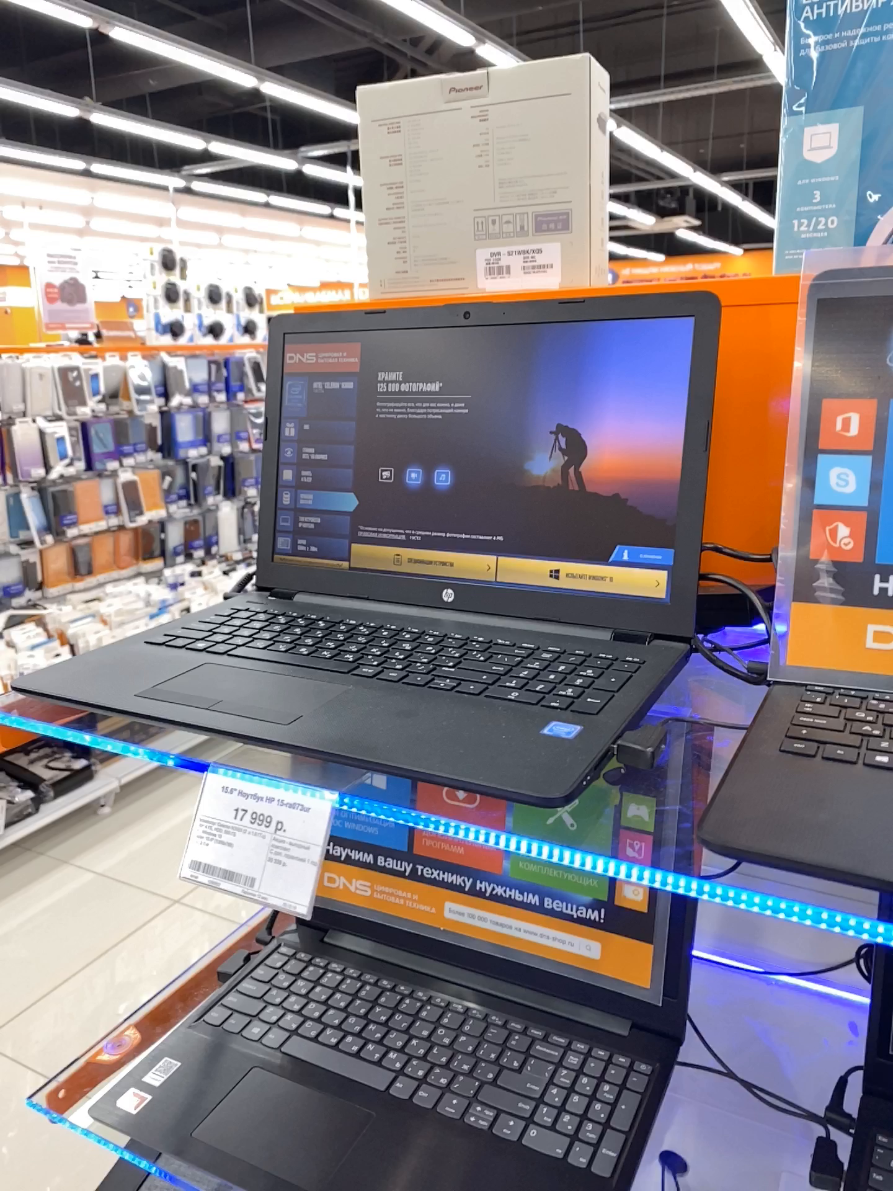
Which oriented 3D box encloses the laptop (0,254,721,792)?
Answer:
[{"bbox_3d":[-0.045,-0.080,0.629,0.389,0.236,0.322,6,16,27],"label":"laptop"}]
